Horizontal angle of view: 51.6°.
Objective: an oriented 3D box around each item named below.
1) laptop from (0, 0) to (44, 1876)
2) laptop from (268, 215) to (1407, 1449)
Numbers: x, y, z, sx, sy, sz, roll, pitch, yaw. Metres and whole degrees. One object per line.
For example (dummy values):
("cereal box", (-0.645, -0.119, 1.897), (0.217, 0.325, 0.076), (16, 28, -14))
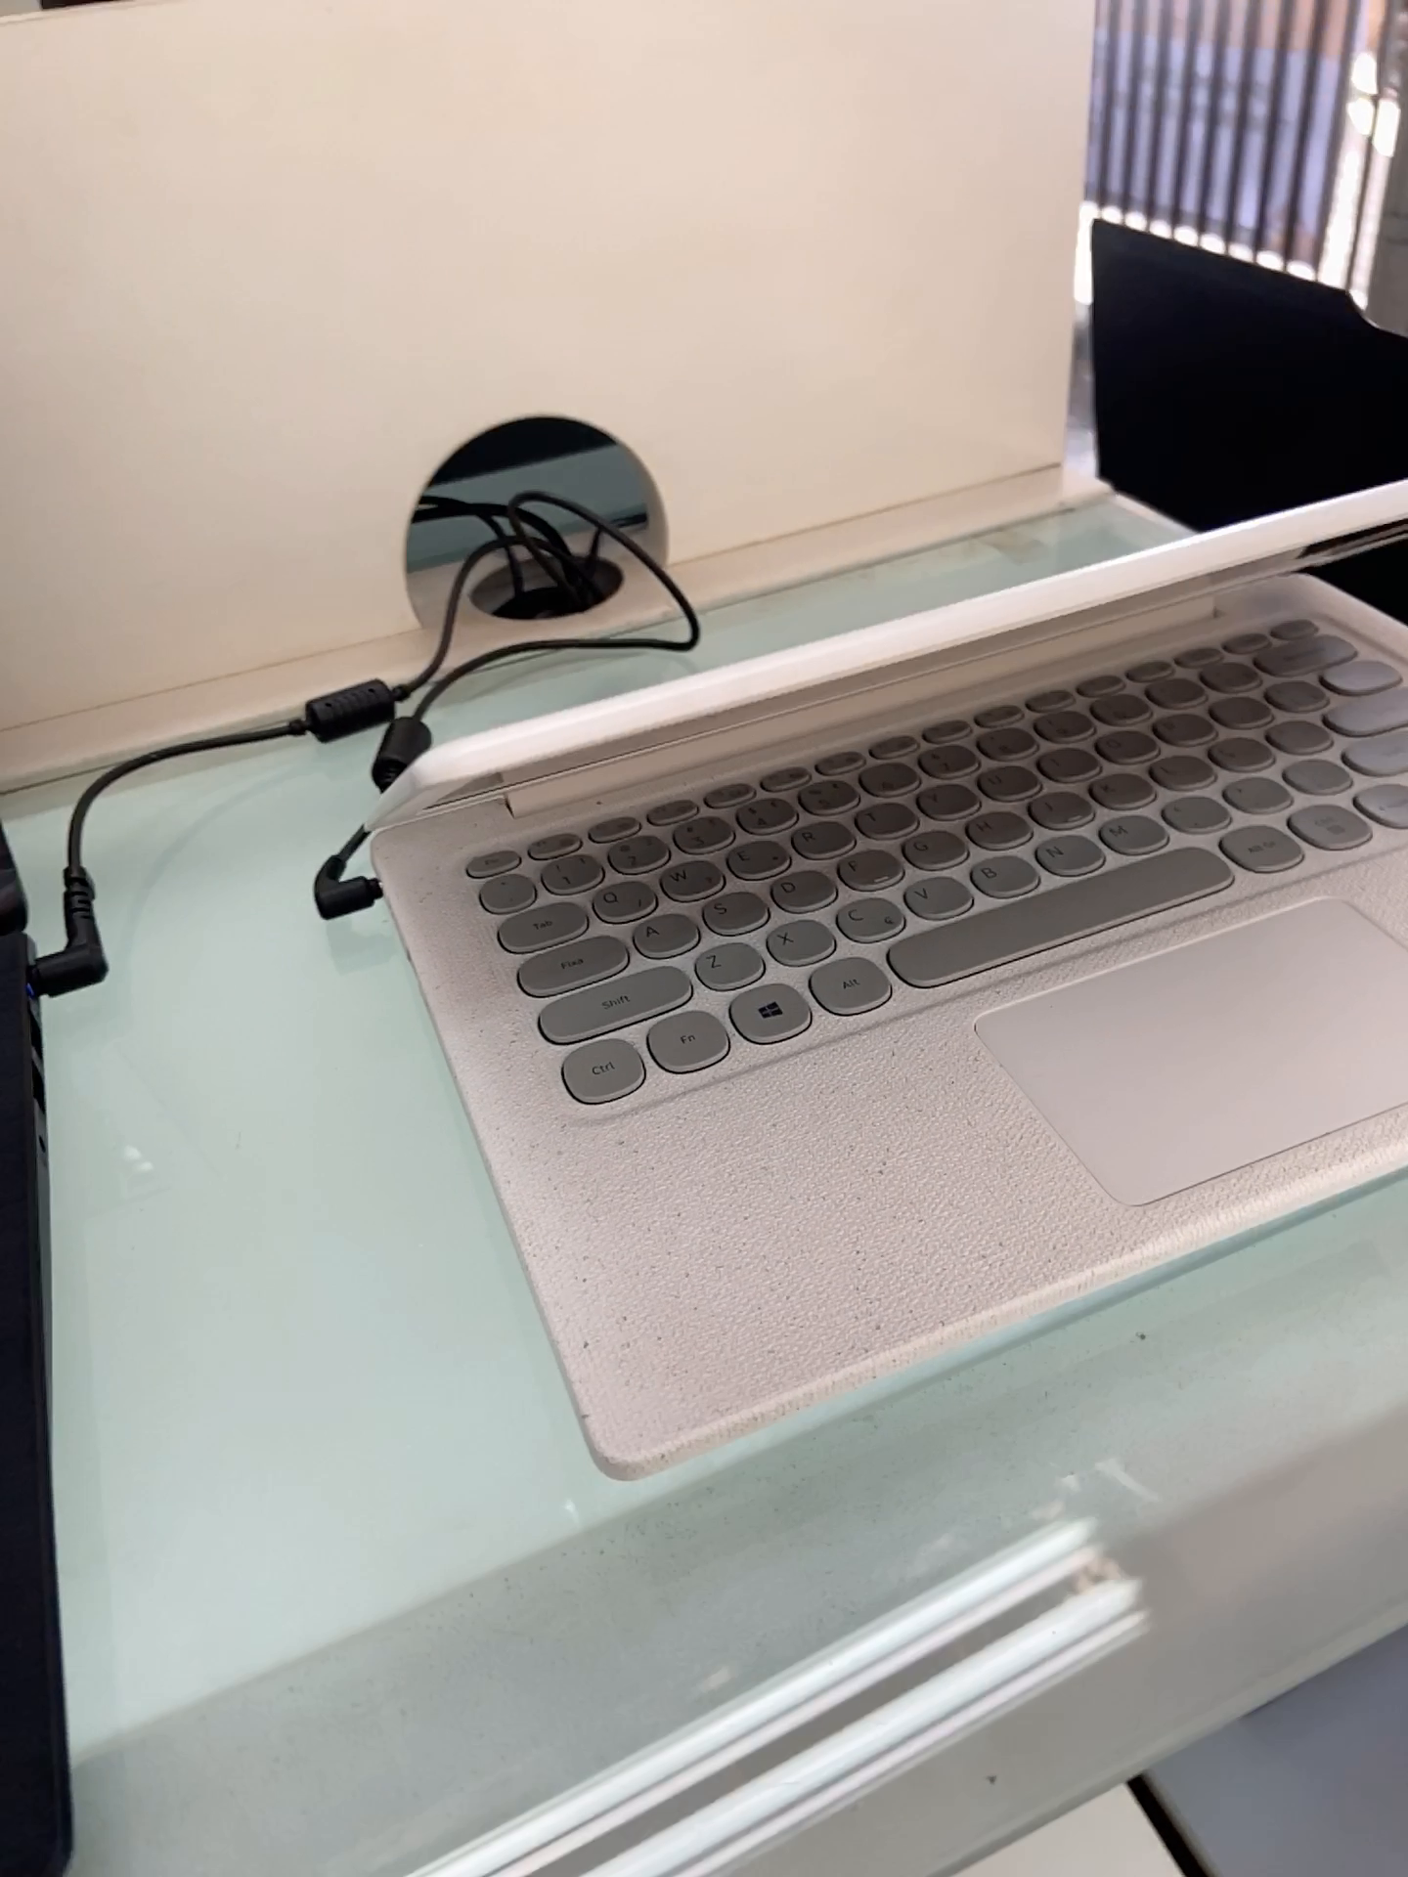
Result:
("laptop", (-0.351, -0.001, 0.229), (0.401, 0.213, 0.375), (-17, 38, -13))
("laptop", (0.086, -0.059, 0.331), (0.312, 0.108, 0.207), (-18, 39, -14))
